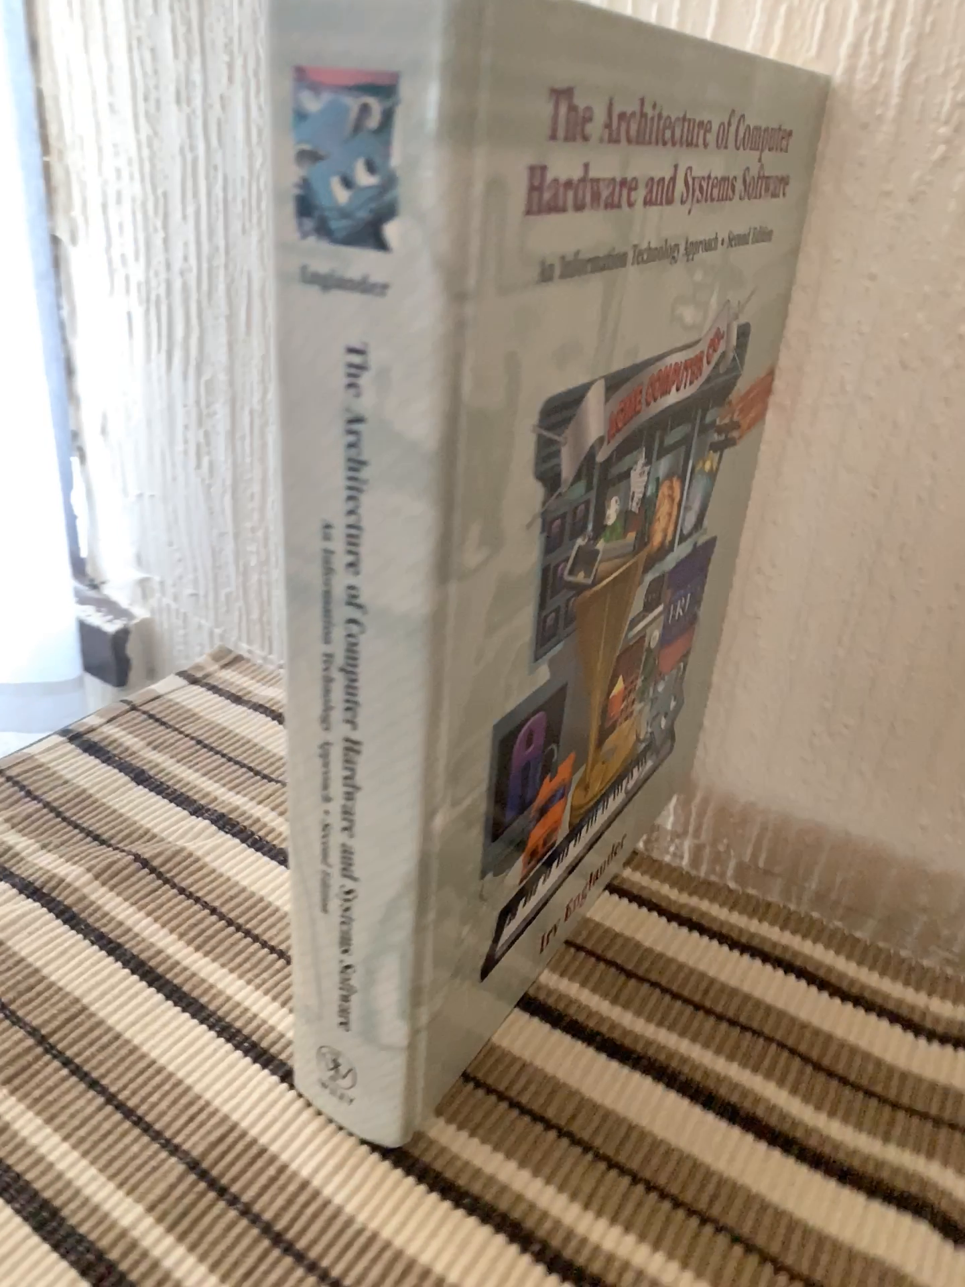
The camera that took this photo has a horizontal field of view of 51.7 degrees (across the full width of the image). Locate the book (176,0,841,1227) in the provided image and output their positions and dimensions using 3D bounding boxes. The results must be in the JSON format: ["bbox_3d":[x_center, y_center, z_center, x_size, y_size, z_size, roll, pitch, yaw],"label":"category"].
[{"bbox_3d":[0.022,-0.020,0.270,0.040,0.258,0.211,18,31,27],"label":"book"}]
